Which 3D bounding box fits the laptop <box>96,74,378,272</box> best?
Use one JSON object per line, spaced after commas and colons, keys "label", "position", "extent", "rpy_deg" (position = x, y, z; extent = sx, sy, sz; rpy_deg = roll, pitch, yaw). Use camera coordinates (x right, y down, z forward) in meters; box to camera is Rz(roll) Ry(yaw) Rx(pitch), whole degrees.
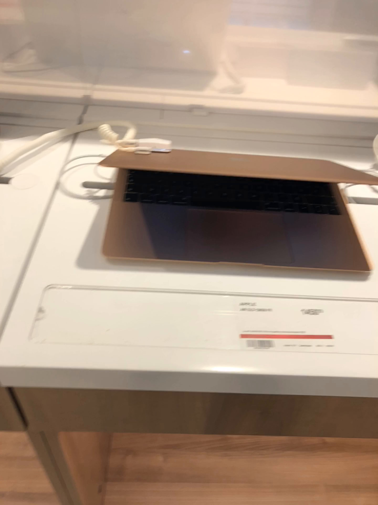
{"label": "laptop", "position": [0.055, -0.107, 0.496], "extent": [0.298, 0.104, 0.226], "rpy_deg": [3, 43, 0]}
